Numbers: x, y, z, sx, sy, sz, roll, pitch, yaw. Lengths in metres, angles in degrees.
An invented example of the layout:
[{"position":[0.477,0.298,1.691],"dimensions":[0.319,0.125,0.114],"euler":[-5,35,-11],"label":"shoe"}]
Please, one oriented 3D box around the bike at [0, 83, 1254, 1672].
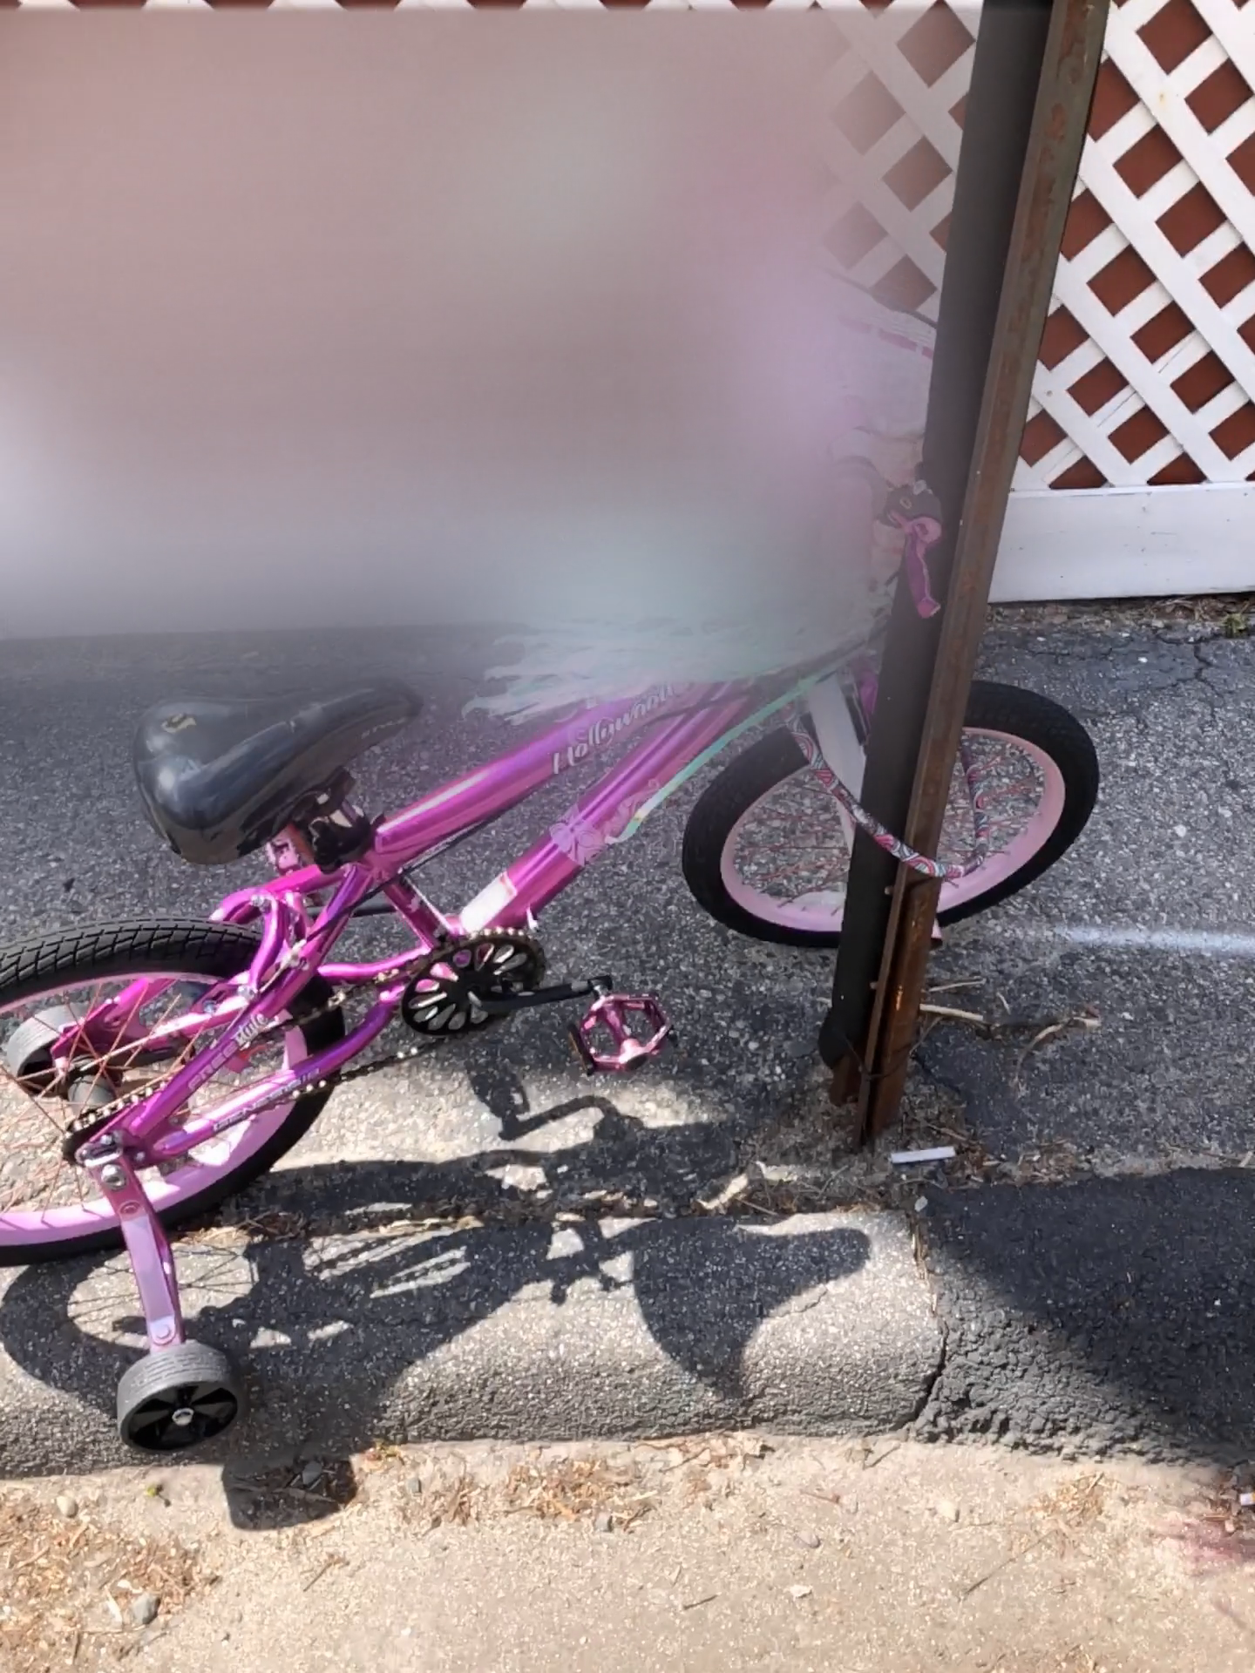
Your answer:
[{"position":[-0.094,-0.023,1.146],"dimensions":[1.226,0.869,0.617],"euler":[-15,43,-17],"label":"bike"}]
